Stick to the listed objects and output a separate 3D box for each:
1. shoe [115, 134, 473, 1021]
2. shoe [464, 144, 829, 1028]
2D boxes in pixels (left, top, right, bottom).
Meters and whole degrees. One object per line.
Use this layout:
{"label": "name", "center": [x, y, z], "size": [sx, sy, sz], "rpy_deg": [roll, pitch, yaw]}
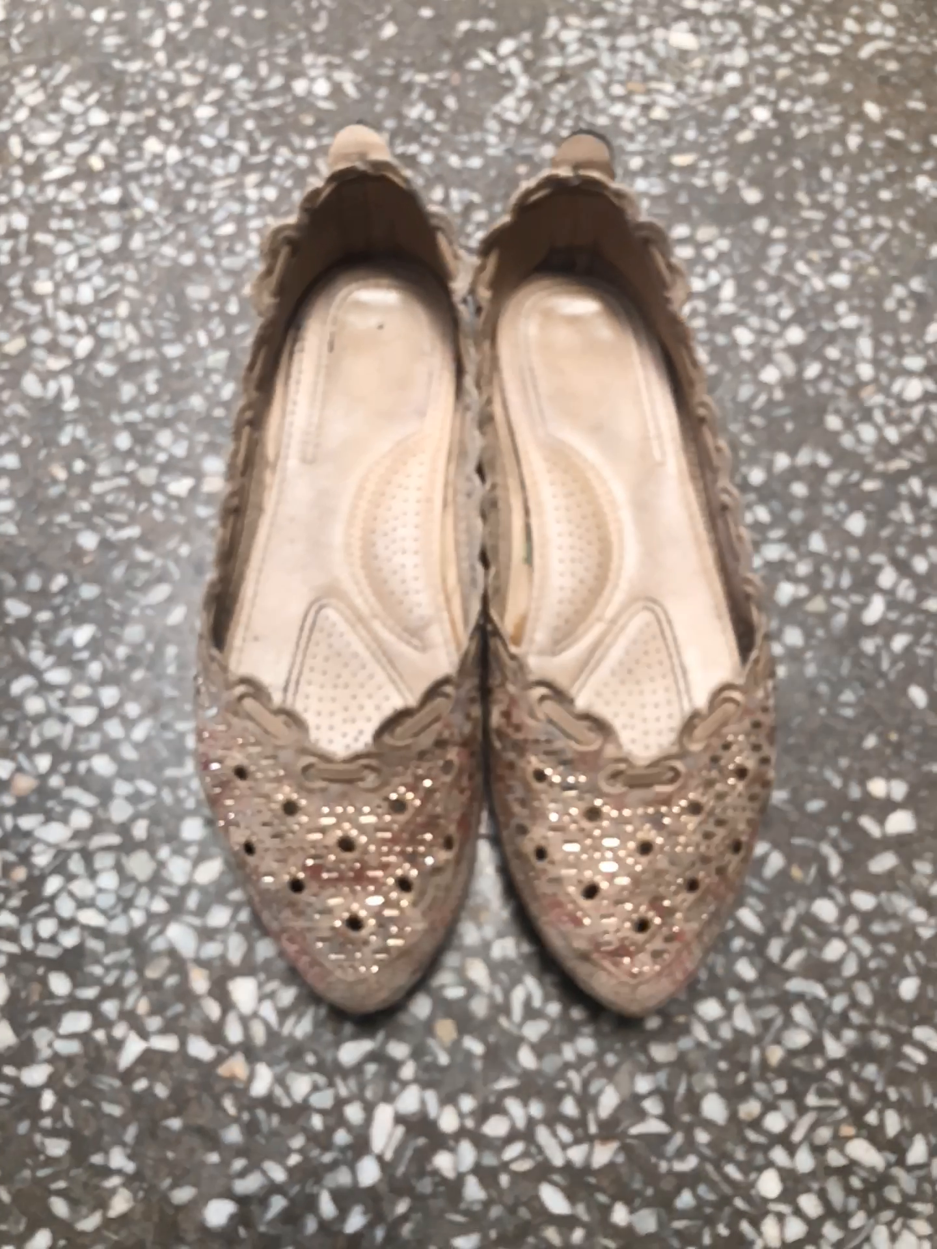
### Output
{"label": "shoe", "center": [-0.048, -0.027, 0.333], "size": [0.090, 0.040, 0.280], "rpy_deg": [0, 71, -3]}
{"label": "shoe", "center": [0.047, -0.021, 0.331], "size": [0.090, 0.040, 0.270], "rpy_deg": [0, 75, -3]}
